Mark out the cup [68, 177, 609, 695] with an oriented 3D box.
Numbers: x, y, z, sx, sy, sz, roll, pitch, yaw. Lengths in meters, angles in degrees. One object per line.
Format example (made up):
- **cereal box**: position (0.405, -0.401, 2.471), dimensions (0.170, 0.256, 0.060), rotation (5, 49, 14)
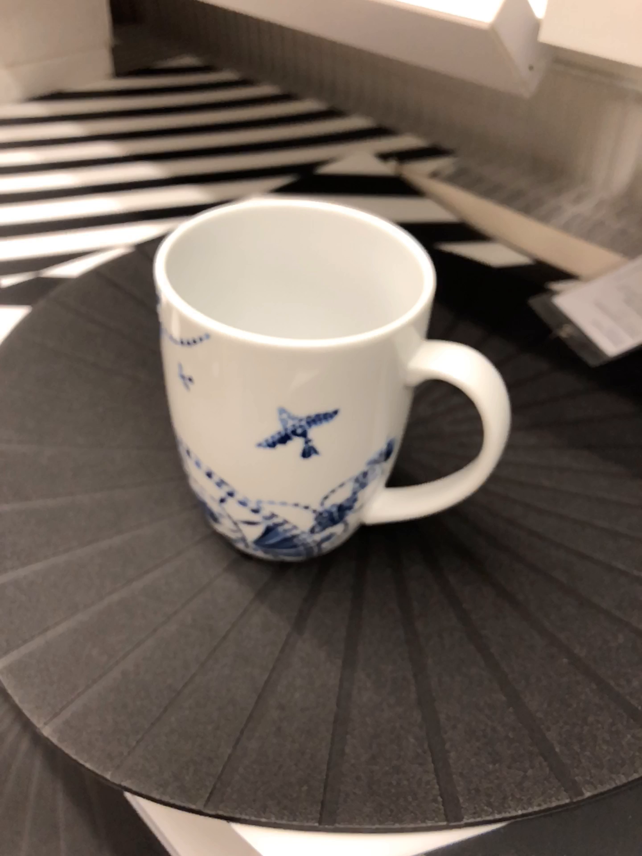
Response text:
- **cup**: position (0.006, -0.006, 0.253), dimensions (0.130, 0.100, 0.100), rotation (24, 45, 22)
